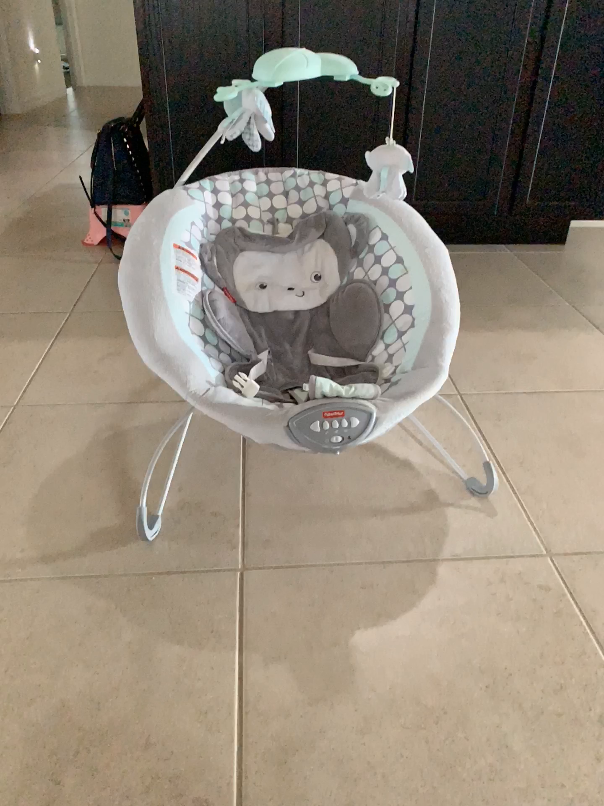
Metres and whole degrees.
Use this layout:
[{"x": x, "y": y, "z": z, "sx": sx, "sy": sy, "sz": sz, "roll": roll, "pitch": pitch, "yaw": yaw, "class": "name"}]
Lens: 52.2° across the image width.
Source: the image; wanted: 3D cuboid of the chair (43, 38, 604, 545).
[{"x": 0.009, "y": -0.219, "z": 0.954, "sx": 0.571, "sy": 0.578, "sz": 0.550, "roll": -4, "pitch": 31, "yaw": -8, "class": "chair"}]
